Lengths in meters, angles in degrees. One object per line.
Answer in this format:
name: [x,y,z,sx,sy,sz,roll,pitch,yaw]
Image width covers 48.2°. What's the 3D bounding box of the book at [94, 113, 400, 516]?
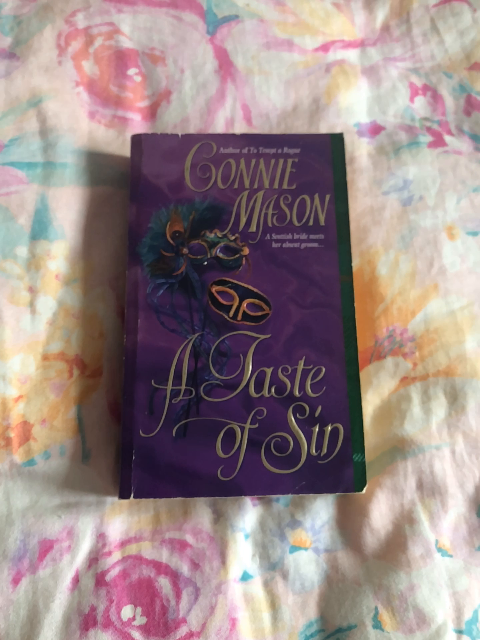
book: [-0.003,-0.007,0.255,0.120,0.040,0.180,0,70,-11]
